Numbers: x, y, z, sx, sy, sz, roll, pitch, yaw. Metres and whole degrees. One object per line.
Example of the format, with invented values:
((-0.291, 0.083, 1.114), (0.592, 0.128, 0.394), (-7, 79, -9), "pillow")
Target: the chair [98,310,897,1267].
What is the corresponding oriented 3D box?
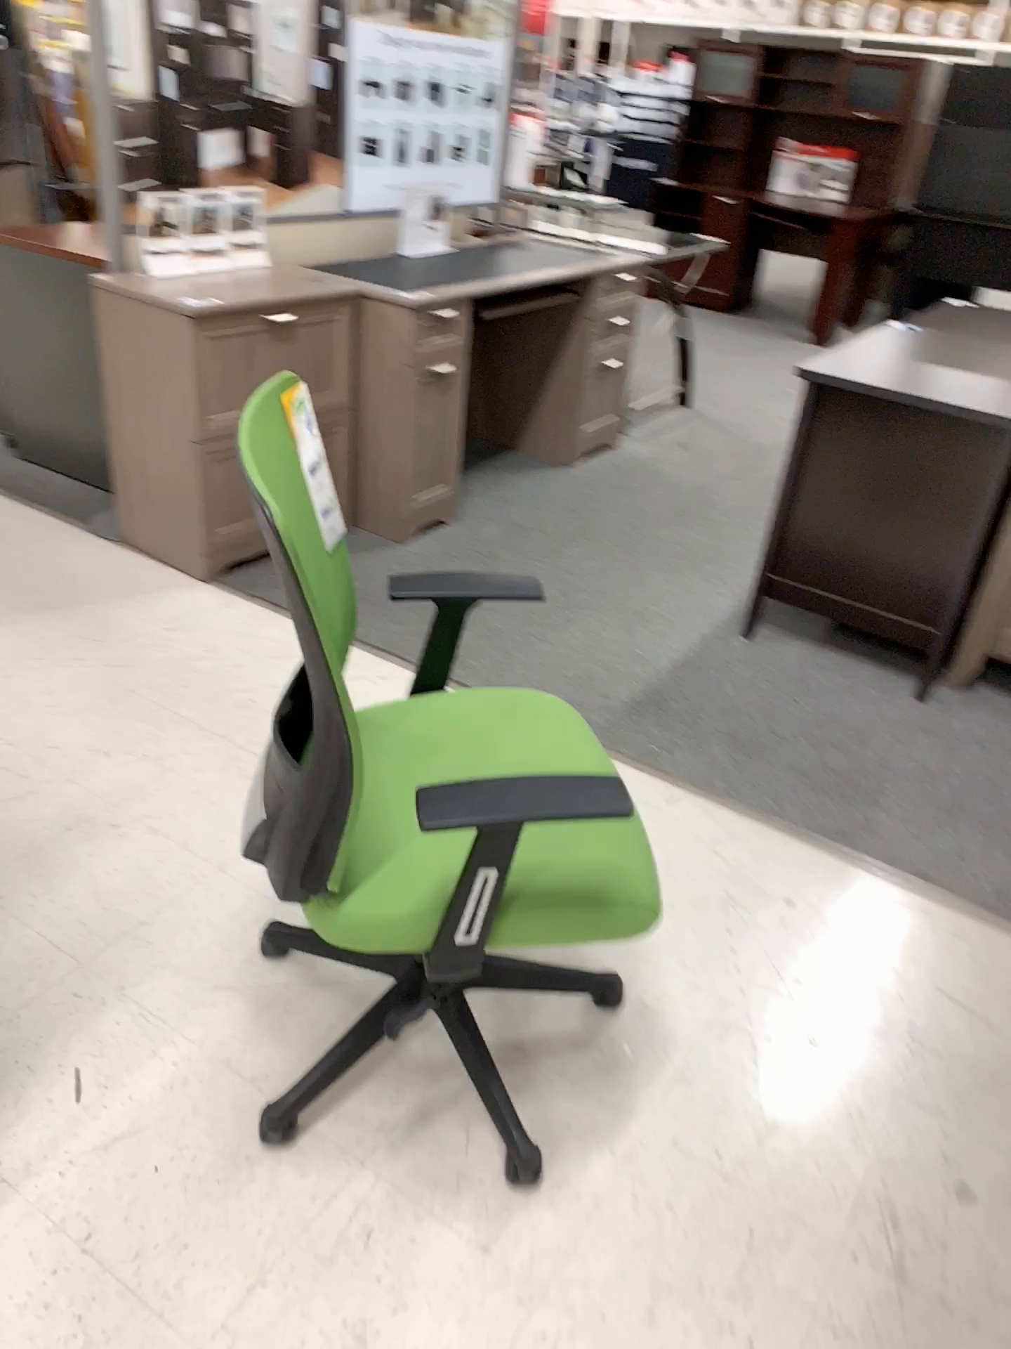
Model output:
((-0.090, 0.120, 1.374), (0.670, 0.995, 0.673), (-2, 31, -13), "chair")
